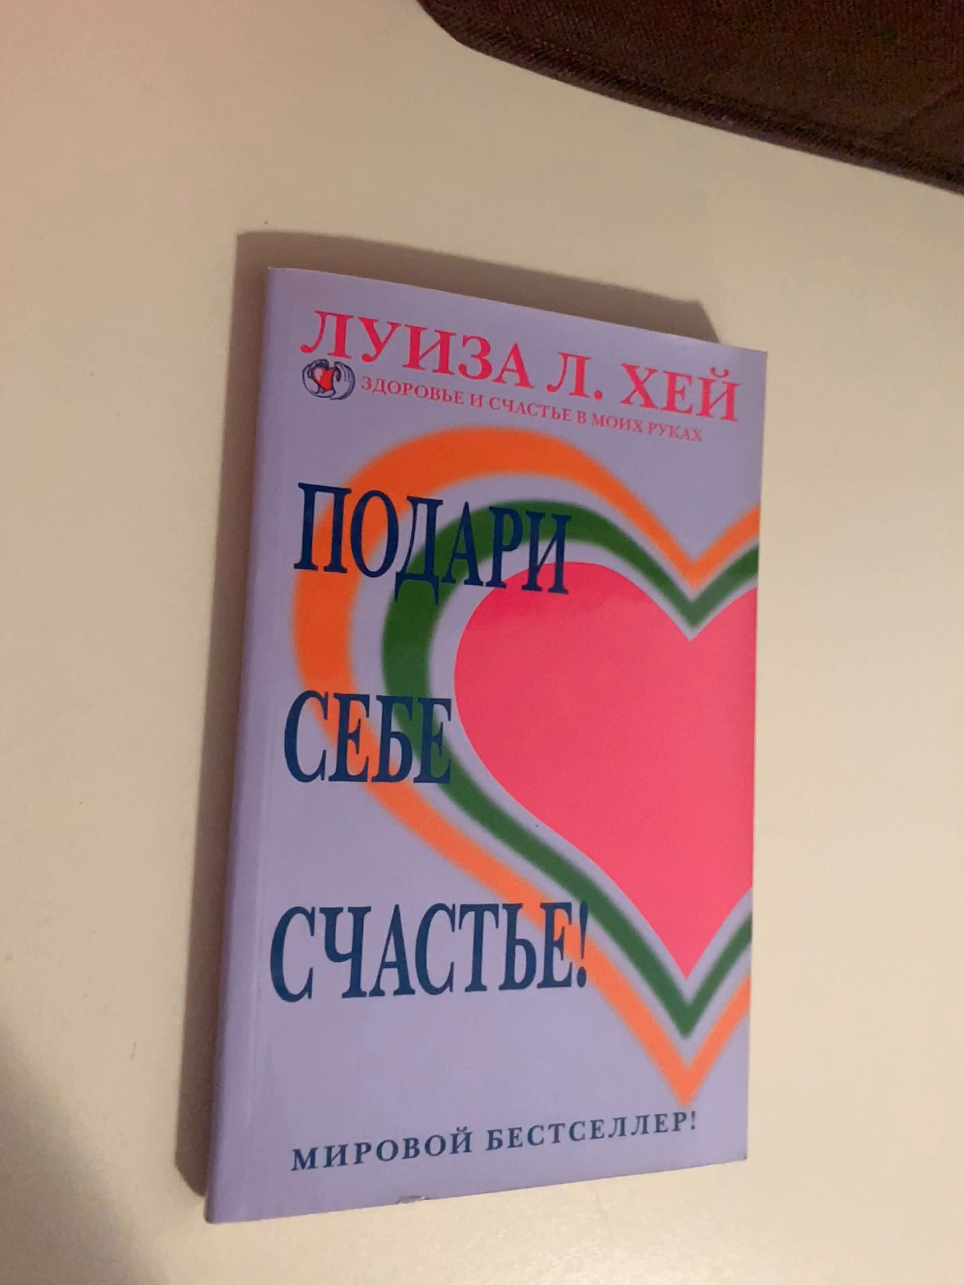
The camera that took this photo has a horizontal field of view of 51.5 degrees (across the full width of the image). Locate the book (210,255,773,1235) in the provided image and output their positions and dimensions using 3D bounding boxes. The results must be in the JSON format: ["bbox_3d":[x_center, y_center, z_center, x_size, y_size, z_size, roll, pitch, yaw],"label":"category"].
[{"bbox_3d":[0.008,0.021,0.227,0.123,0.016,0.194,4,85,-19],"label":"book"}]
